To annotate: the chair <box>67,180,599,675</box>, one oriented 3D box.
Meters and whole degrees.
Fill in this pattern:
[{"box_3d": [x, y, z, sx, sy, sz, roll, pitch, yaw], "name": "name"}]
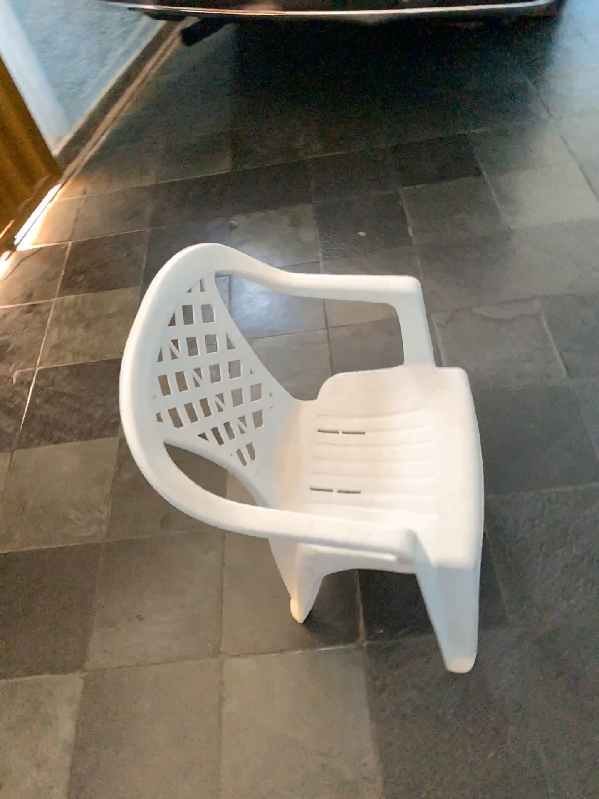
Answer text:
[{"box_3d": [0.095, 0.104, 1.101, 0.590, 0.717, 0.542, -1, 53, 9], "name": "chair"}]
